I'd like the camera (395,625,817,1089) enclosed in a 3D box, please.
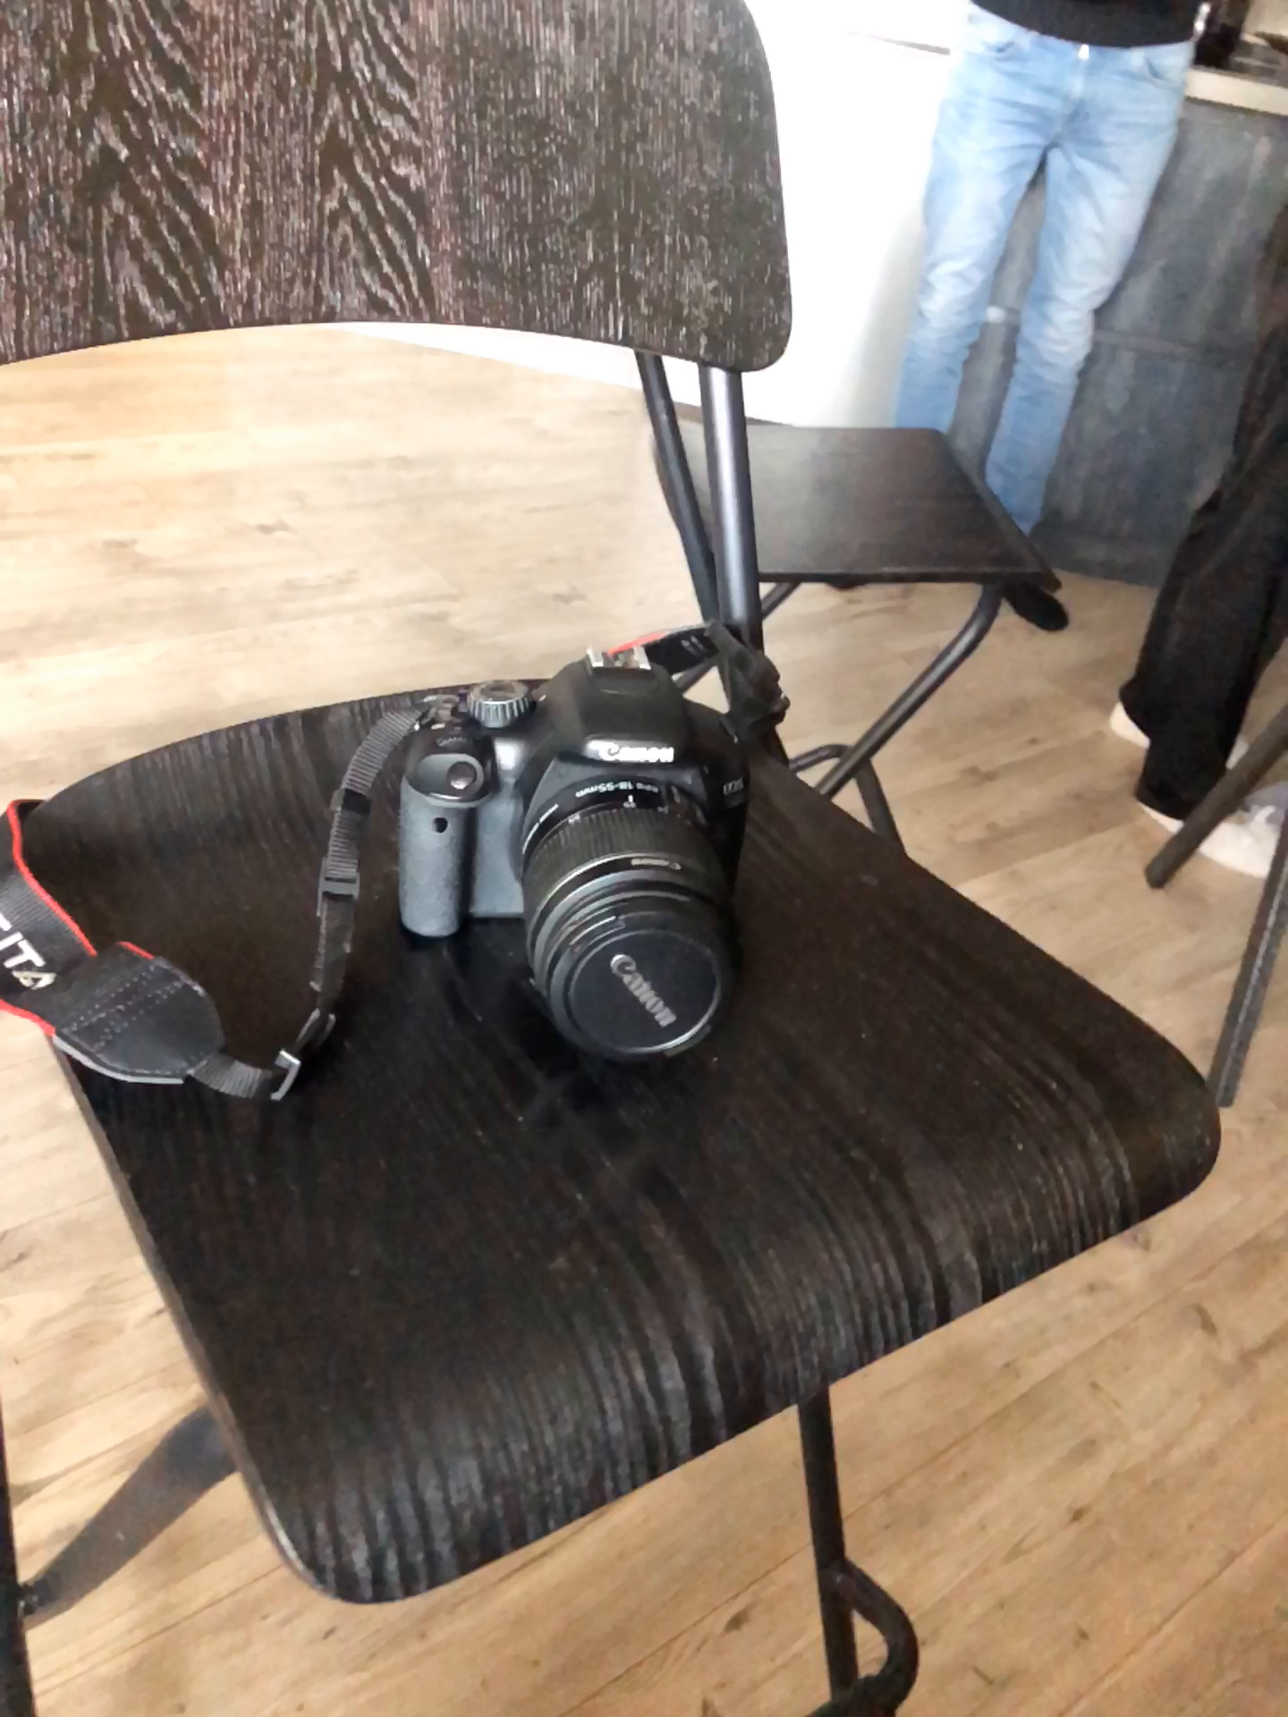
[{"bbox_3d":[-0.024,-0.004,0.496,0.120,0.092,0.141,2,35,-12],"label":"camera"}]
